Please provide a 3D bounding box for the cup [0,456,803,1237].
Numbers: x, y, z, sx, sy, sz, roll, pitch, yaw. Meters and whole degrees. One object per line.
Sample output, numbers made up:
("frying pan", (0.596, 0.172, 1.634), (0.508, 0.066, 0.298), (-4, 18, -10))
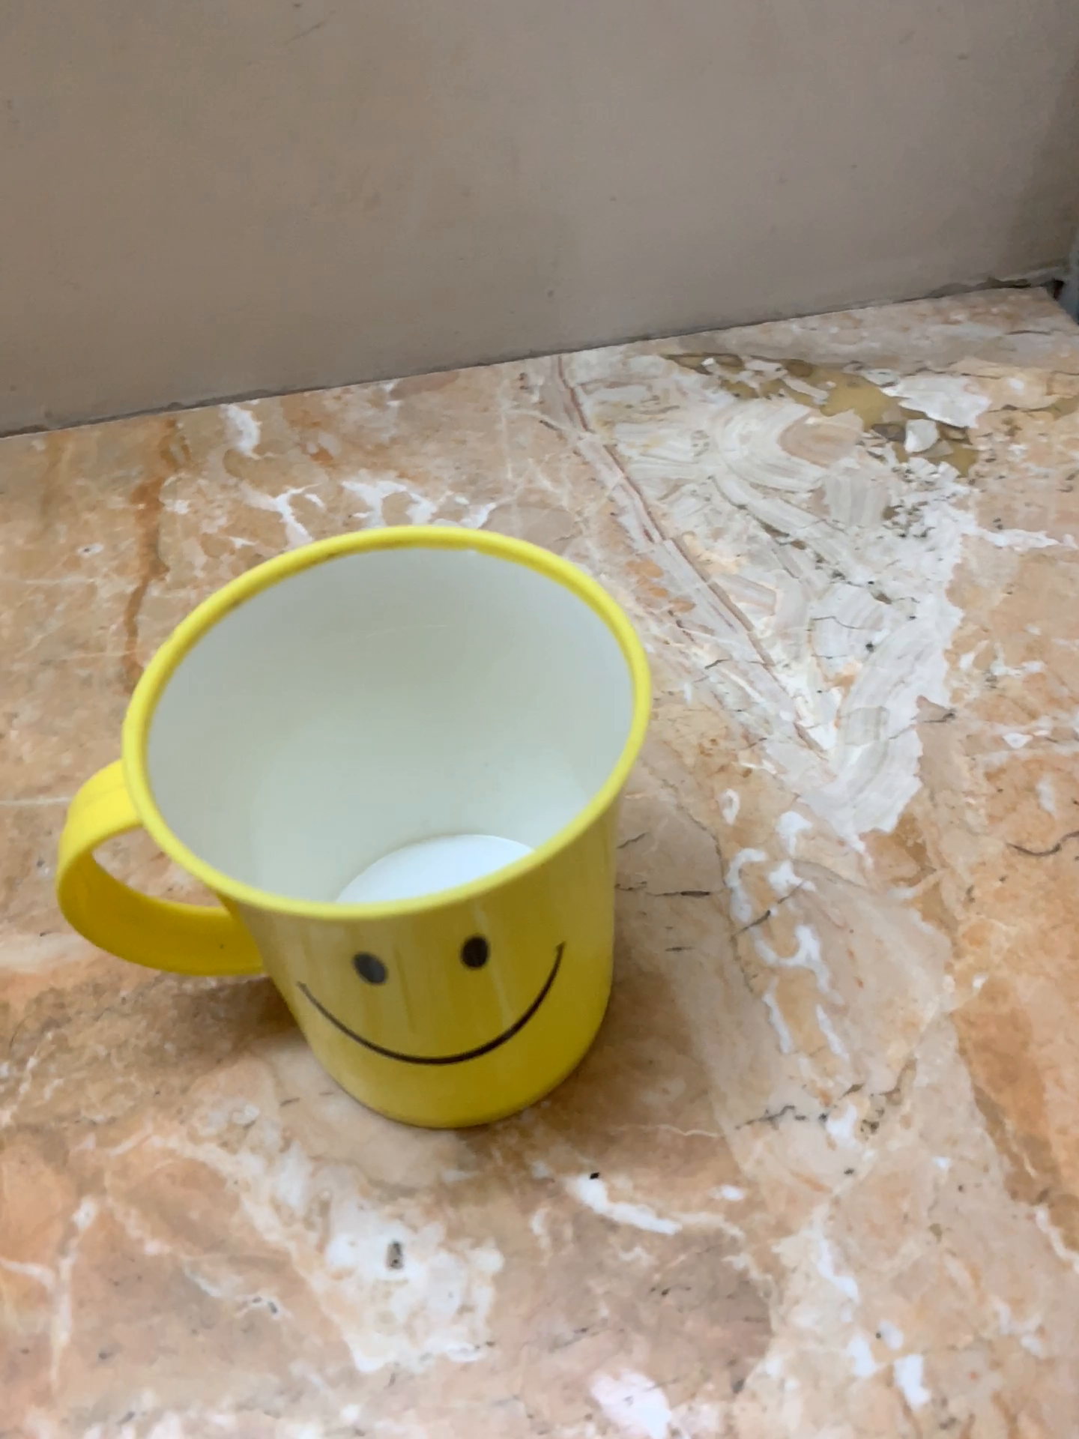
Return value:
("cup", (-0.027, 0.023, 0.186), (0.110, 0.089, 0.071), (-11, 50, -5))
